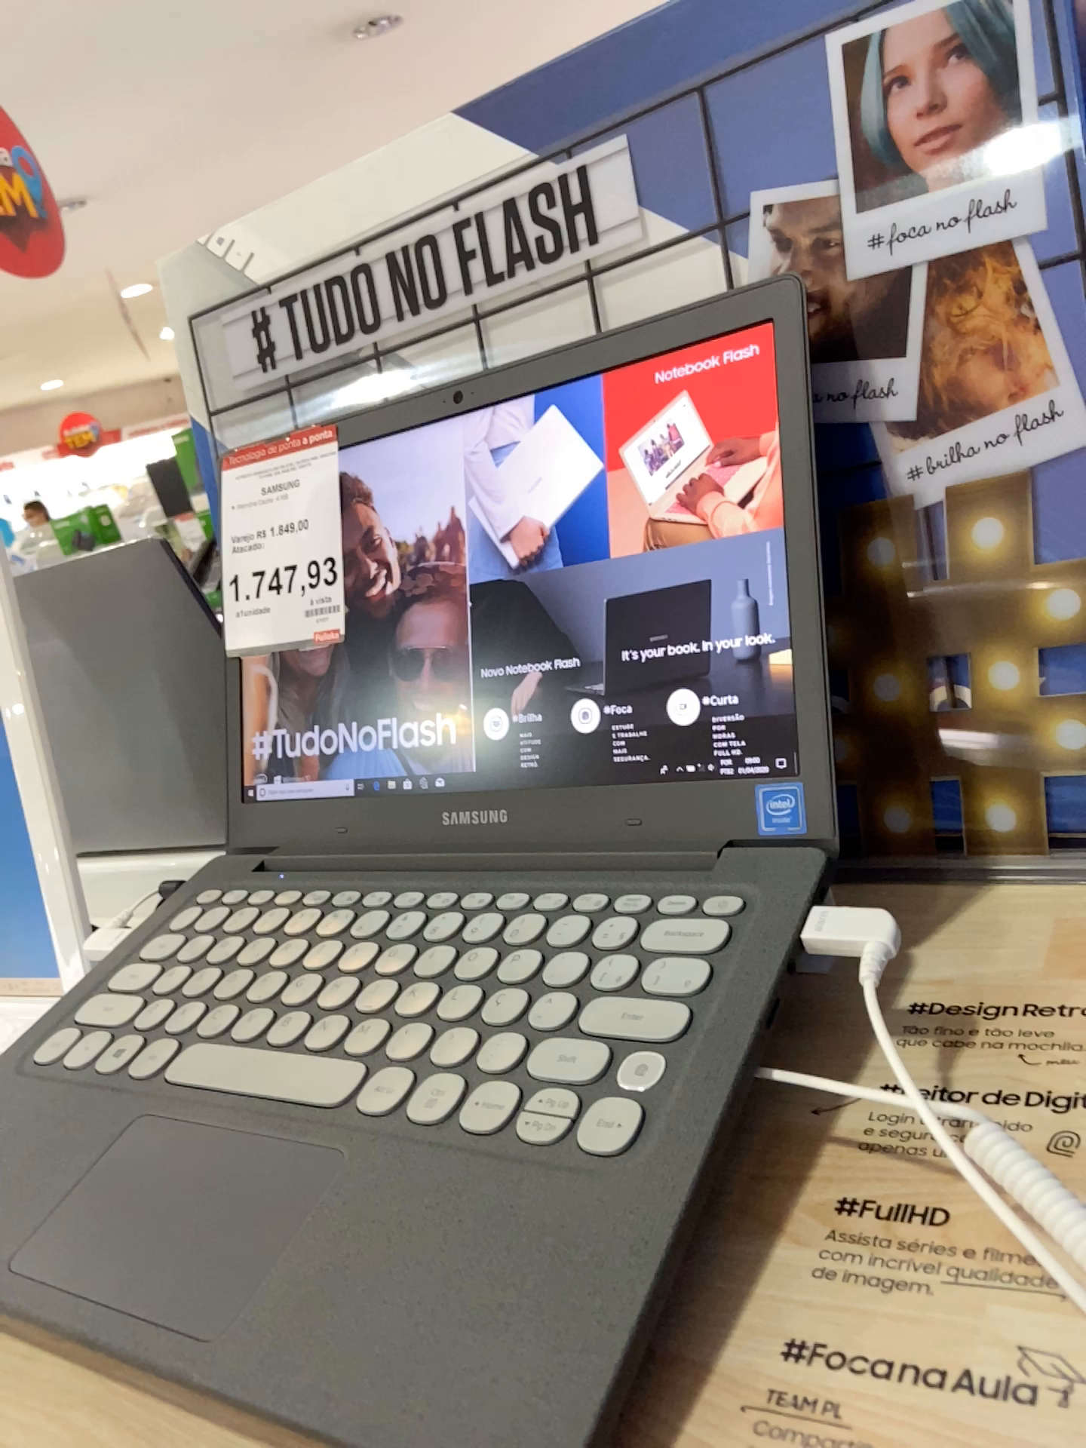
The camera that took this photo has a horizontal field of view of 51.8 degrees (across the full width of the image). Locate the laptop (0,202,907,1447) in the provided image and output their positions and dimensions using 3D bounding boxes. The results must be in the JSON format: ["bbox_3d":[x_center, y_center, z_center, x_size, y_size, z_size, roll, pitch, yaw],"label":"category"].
[{"bbox_3d":[-0.083,-0.005,0.414,0.322,0.181,0.346,-7,27,35],"label":"laptop"}]
